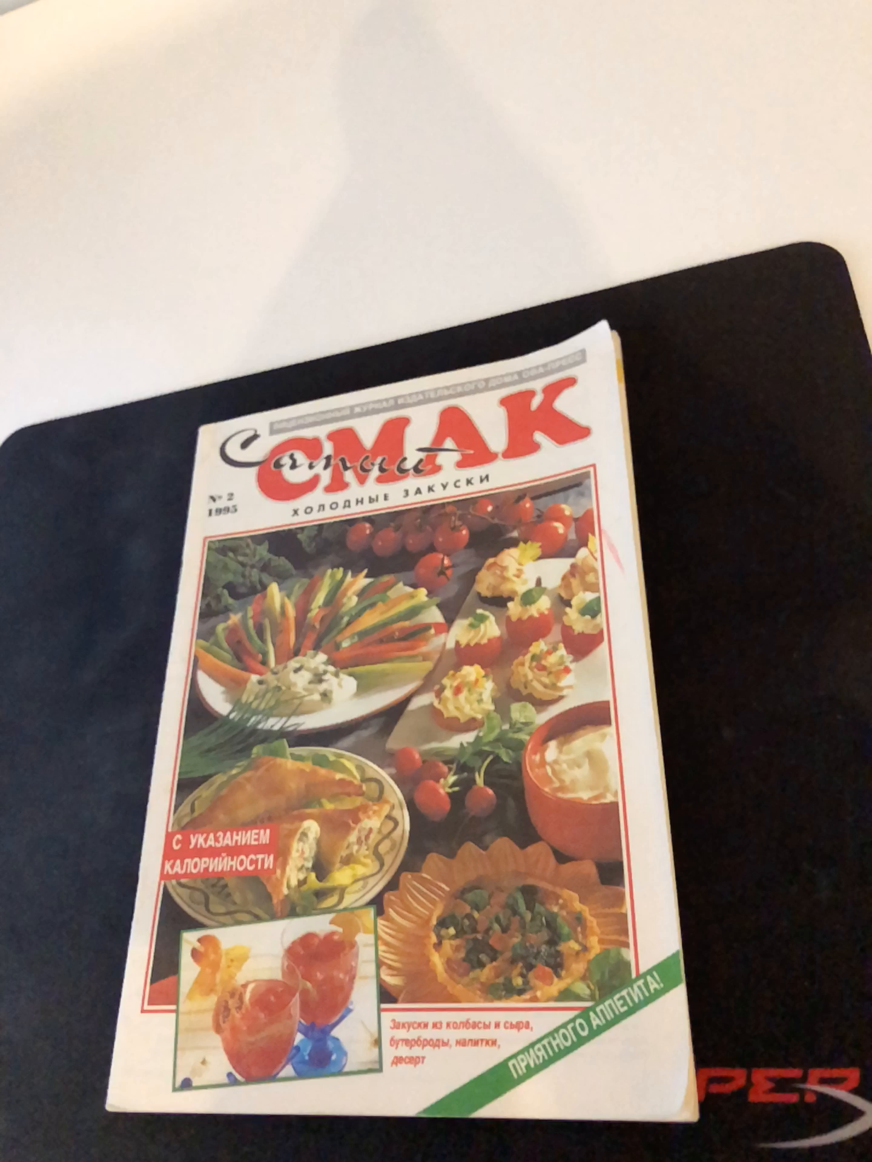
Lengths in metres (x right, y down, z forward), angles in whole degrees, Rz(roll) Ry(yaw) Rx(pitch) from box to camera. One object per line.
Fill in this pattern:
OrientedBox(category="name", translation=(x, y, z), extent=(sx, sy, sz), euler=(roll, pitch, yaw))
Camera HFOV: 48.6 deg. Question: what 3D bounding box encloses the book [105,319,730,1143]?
OrientedBox(category="book", translation=(-0.012, 0.033, 0.289), extent=(0.160, 0.010, 0.231), euler=(-9, 62, 17))
